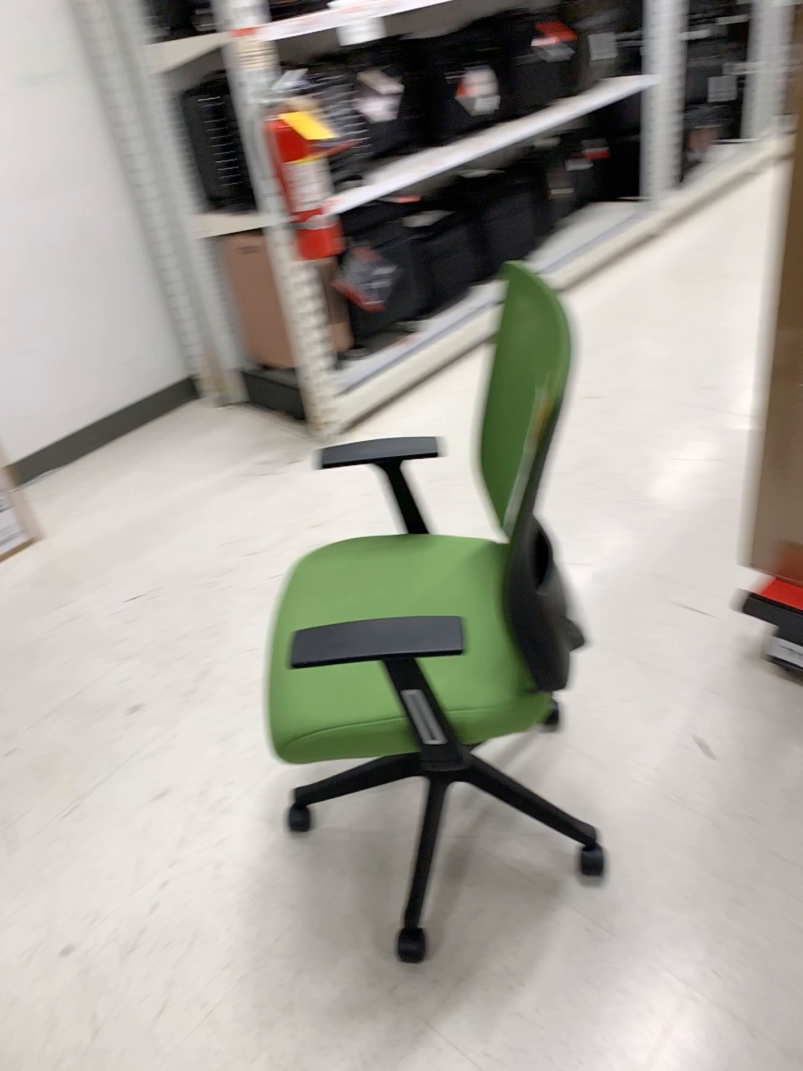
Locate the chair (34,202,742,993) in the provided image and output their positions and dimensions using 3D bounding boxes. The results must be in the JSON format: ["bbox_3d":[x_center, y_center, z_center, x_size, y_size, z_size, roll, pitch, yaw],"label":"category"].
[{"bbox_3d":[0.035,0.111,1.323,0.670,0.995,0.674,-8,35,3],"label":"chair"}]
